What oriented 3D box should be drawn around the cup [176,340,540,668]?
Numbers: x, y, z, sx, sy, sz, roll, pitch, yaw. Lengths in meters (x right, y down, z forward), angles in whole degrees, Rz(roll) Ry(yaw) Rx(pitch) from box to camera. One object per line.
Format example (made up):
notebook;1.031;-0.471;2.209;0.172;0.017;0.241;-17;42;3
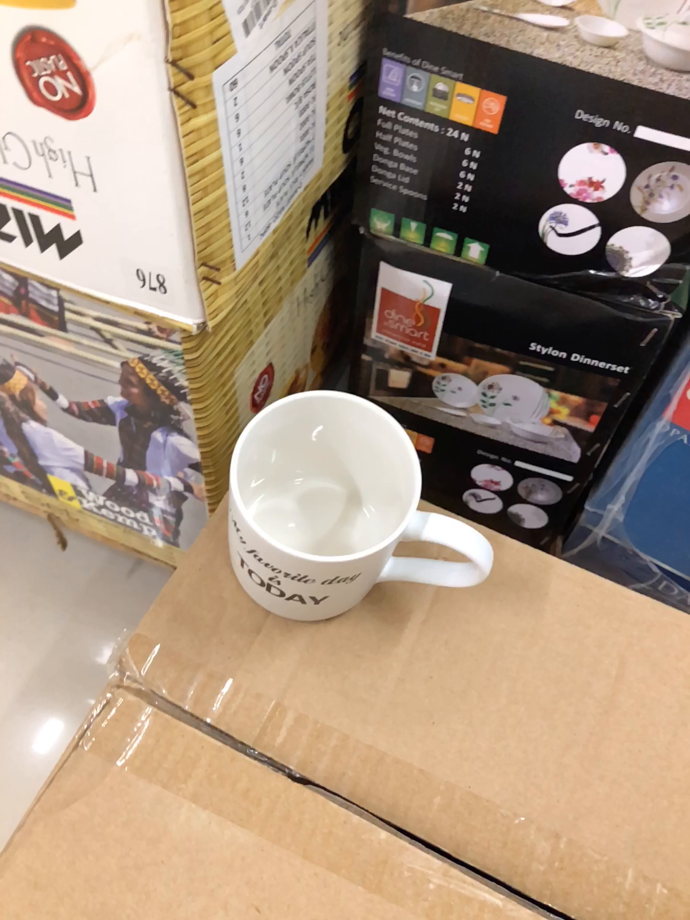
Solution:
cup;0.003;0.025;0.350;0.130;0.100;0.080;18;62;1
